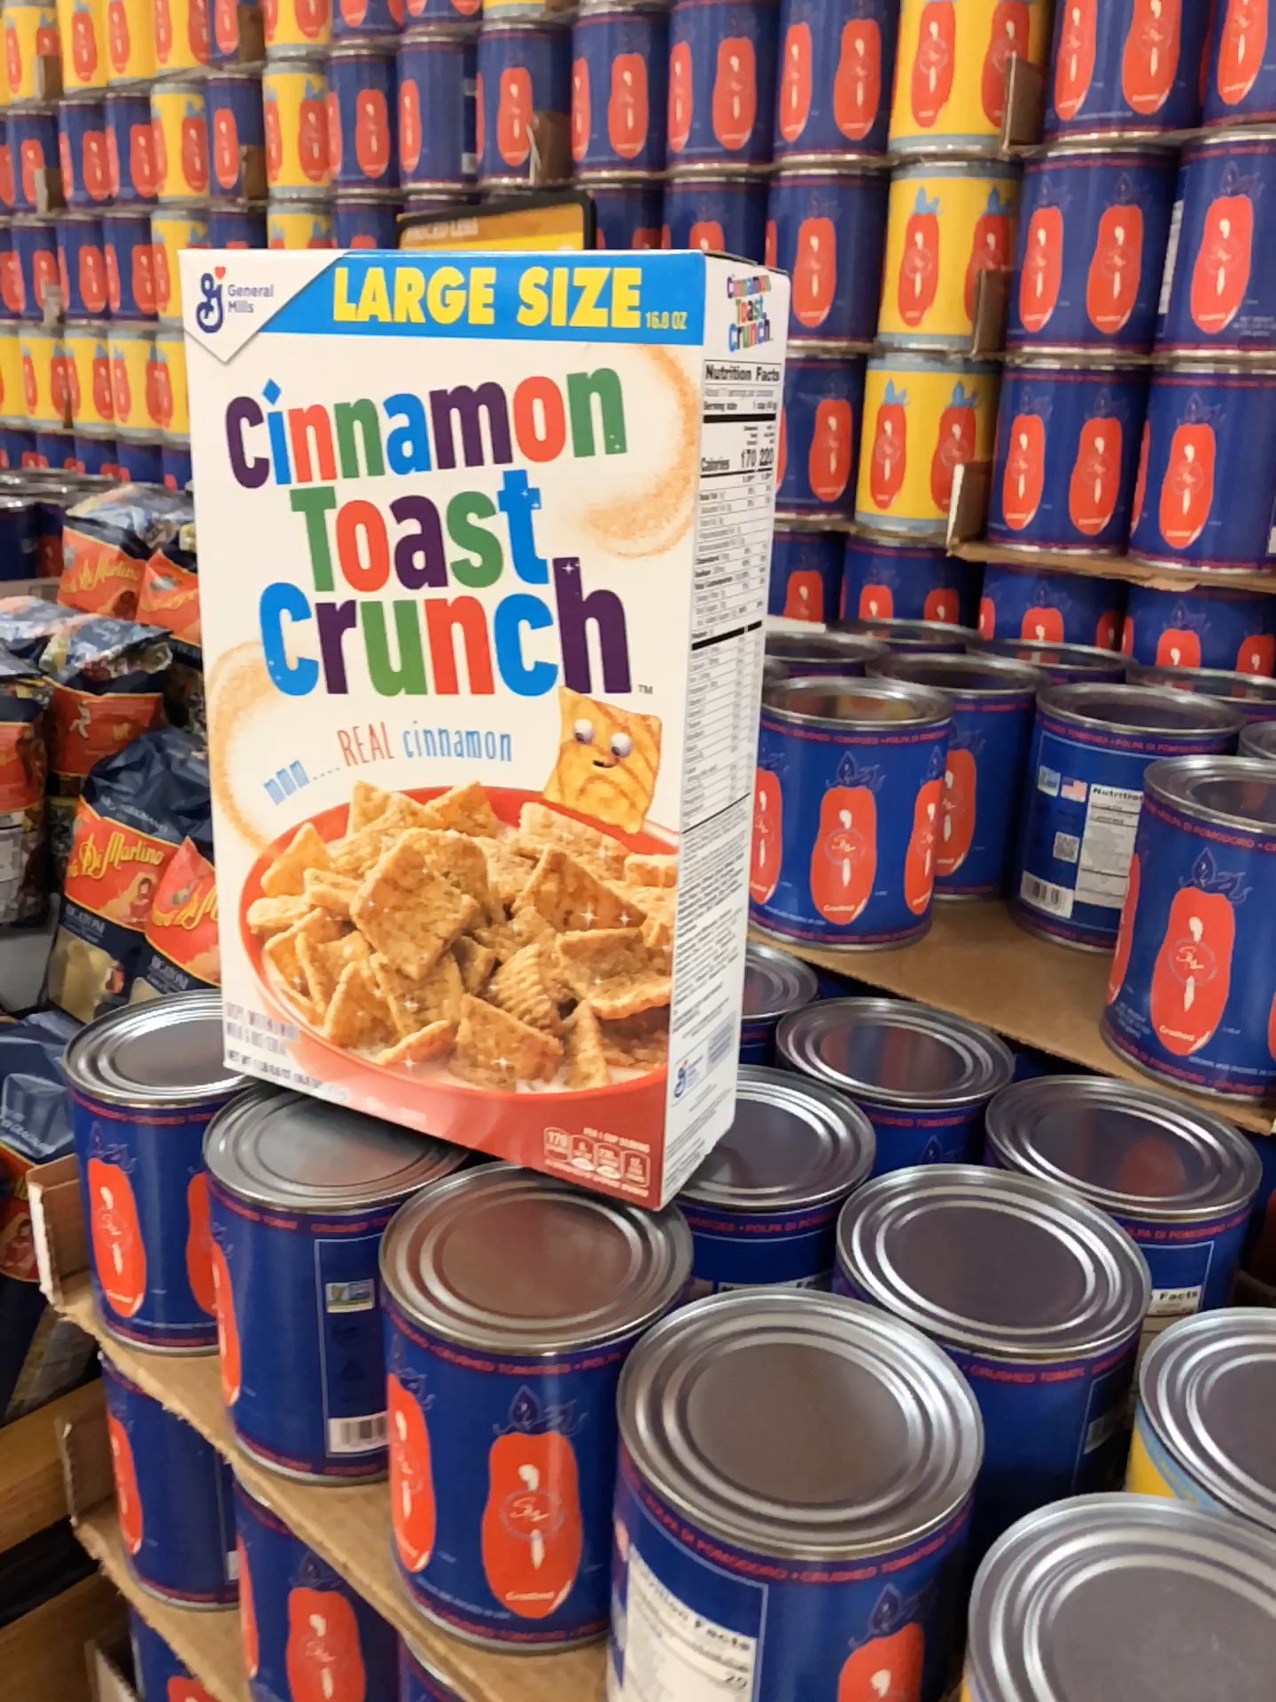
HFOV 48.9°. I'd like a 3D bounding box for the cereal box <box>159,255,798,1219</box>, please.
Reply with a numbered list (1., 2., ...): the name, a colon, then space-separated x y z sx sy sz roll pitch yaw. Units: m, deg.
1. cereal box: -0.059 -0.046 0.497 0.200 0.298 0.070 12 21 27
